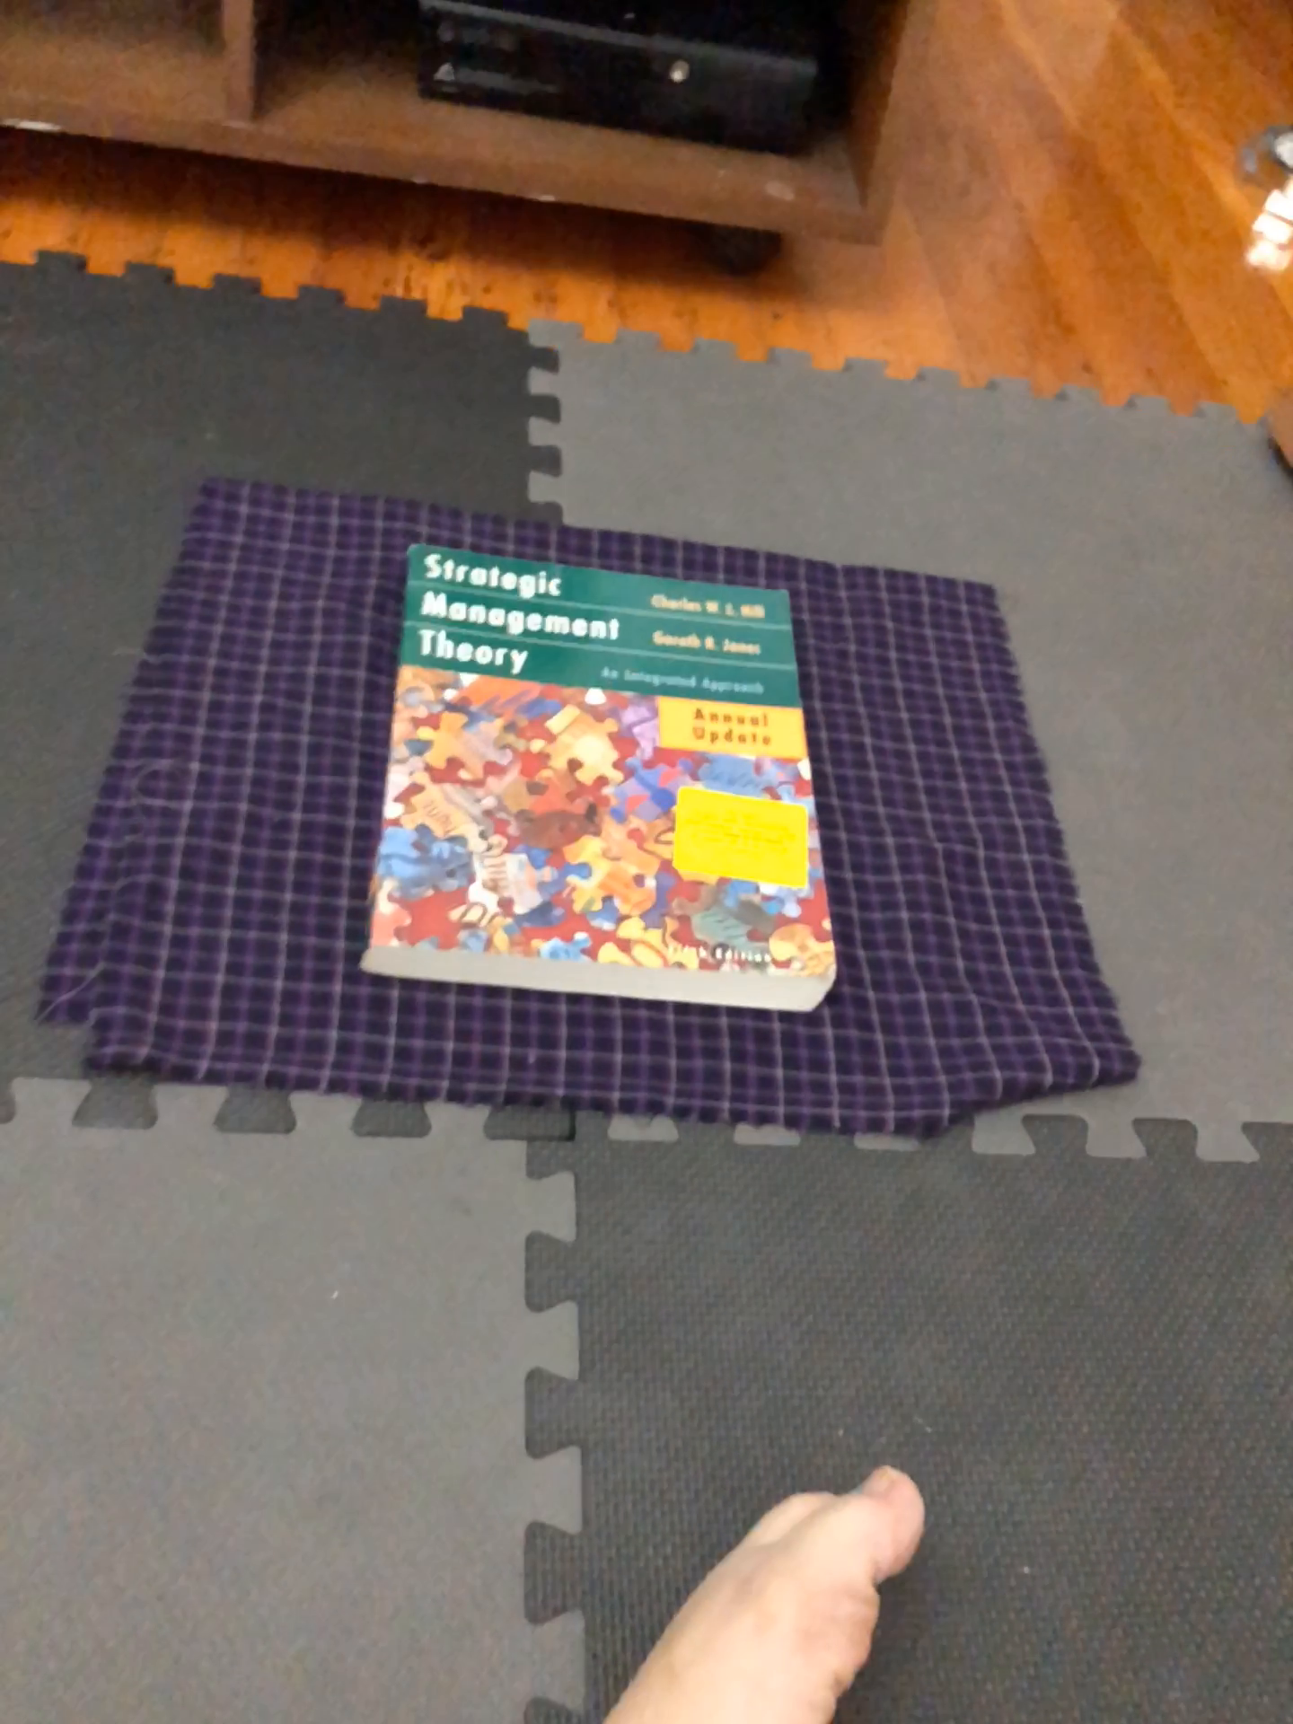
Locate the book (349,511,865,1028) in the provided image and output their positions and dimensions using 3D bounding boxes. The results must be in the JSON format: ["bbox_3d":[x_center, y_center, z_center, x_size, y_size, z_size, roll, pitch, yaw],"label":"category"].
[{"bbox_3d":[-0.019,-0.057,0.733,0.230,0.040,0.281,5,53,-8],"label":"book"}]
